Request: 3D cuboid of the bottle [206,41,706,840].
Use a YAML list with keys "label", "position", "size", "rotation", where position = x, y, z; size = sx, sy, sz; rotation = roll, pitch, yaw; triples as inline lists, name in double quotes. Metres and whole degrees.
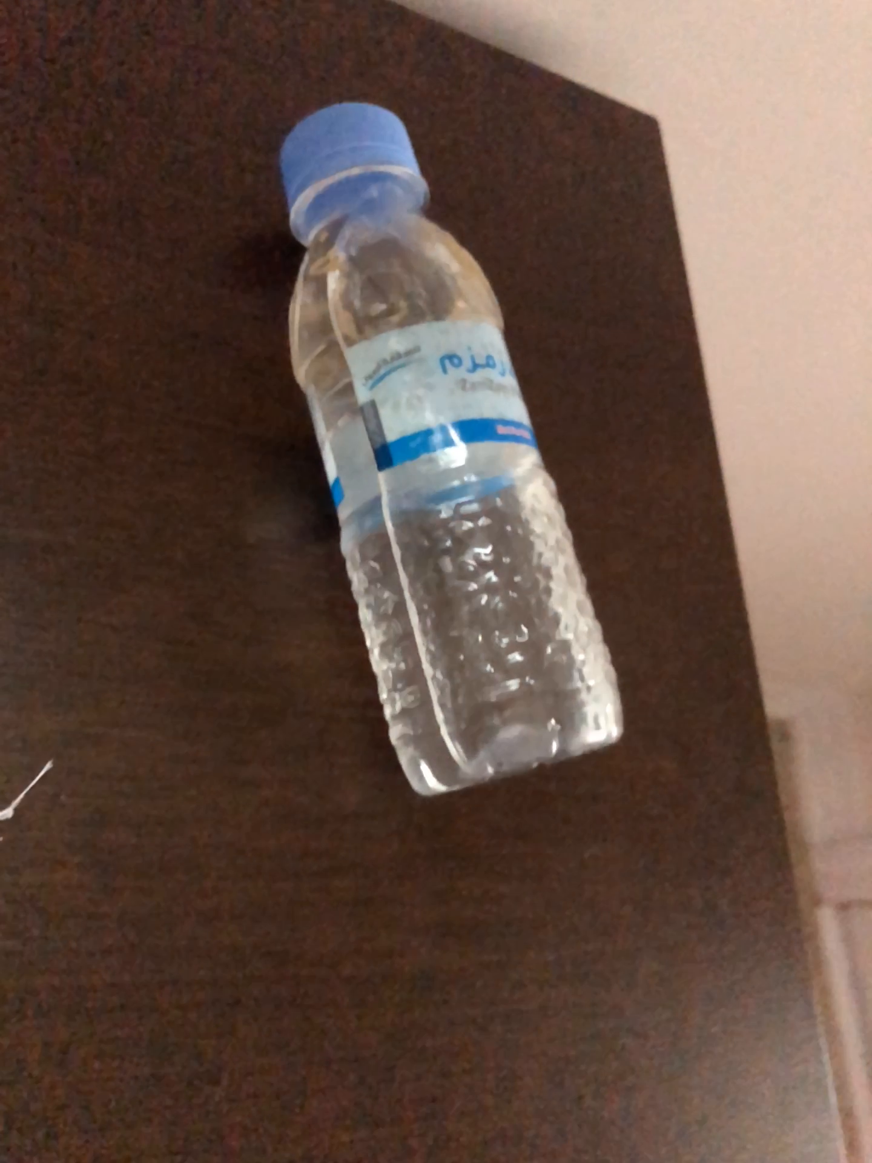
- label: "bottle"
  position: [0.000, -0.031, 0.223]
  size: [0.050, 0.050, 0.160]
  rotation: [-5, 73, -42]
